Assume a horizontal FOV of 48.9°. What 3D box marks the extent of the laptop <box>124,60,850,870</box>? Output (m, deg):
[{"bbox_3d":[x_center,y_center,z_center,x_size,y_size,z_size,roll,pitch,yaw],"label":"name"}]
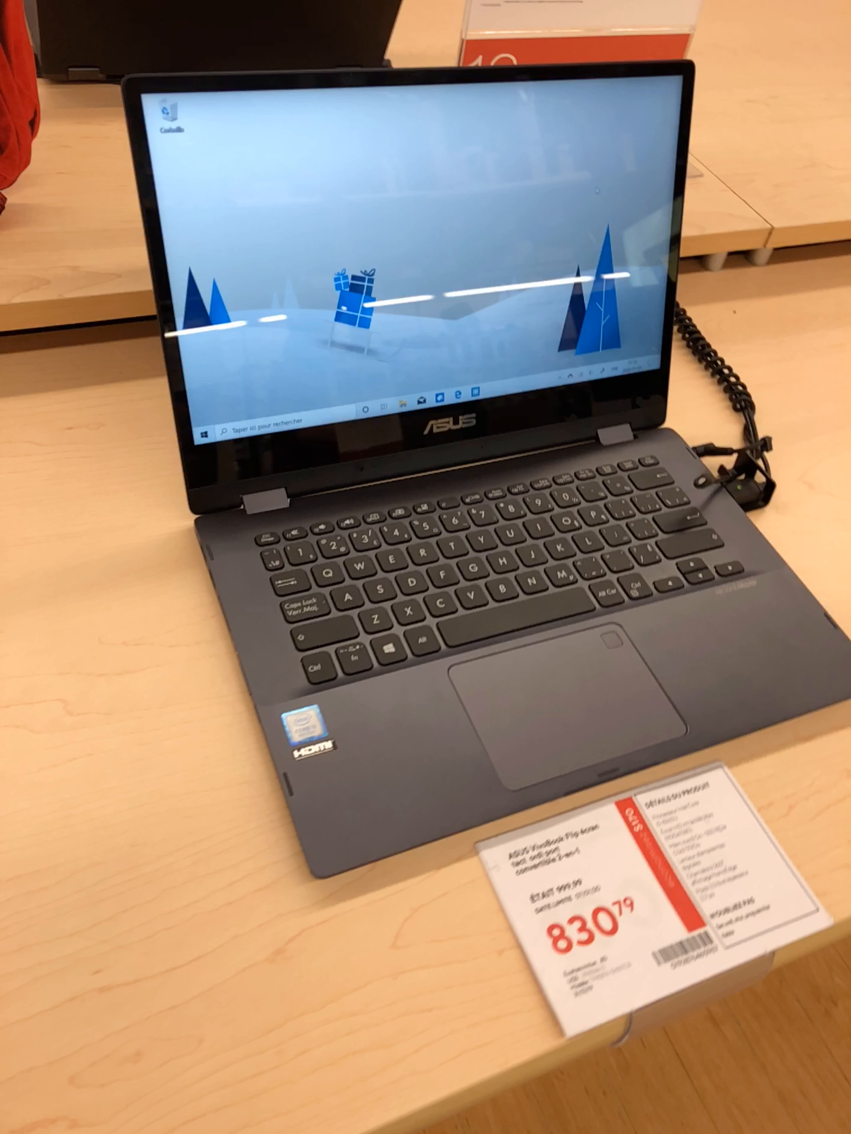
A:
[{"bbox_3d":[0.051,-0.081,0.465,0.313,0.188,0.314,-12,53,-20],"label":"laptop"}]
